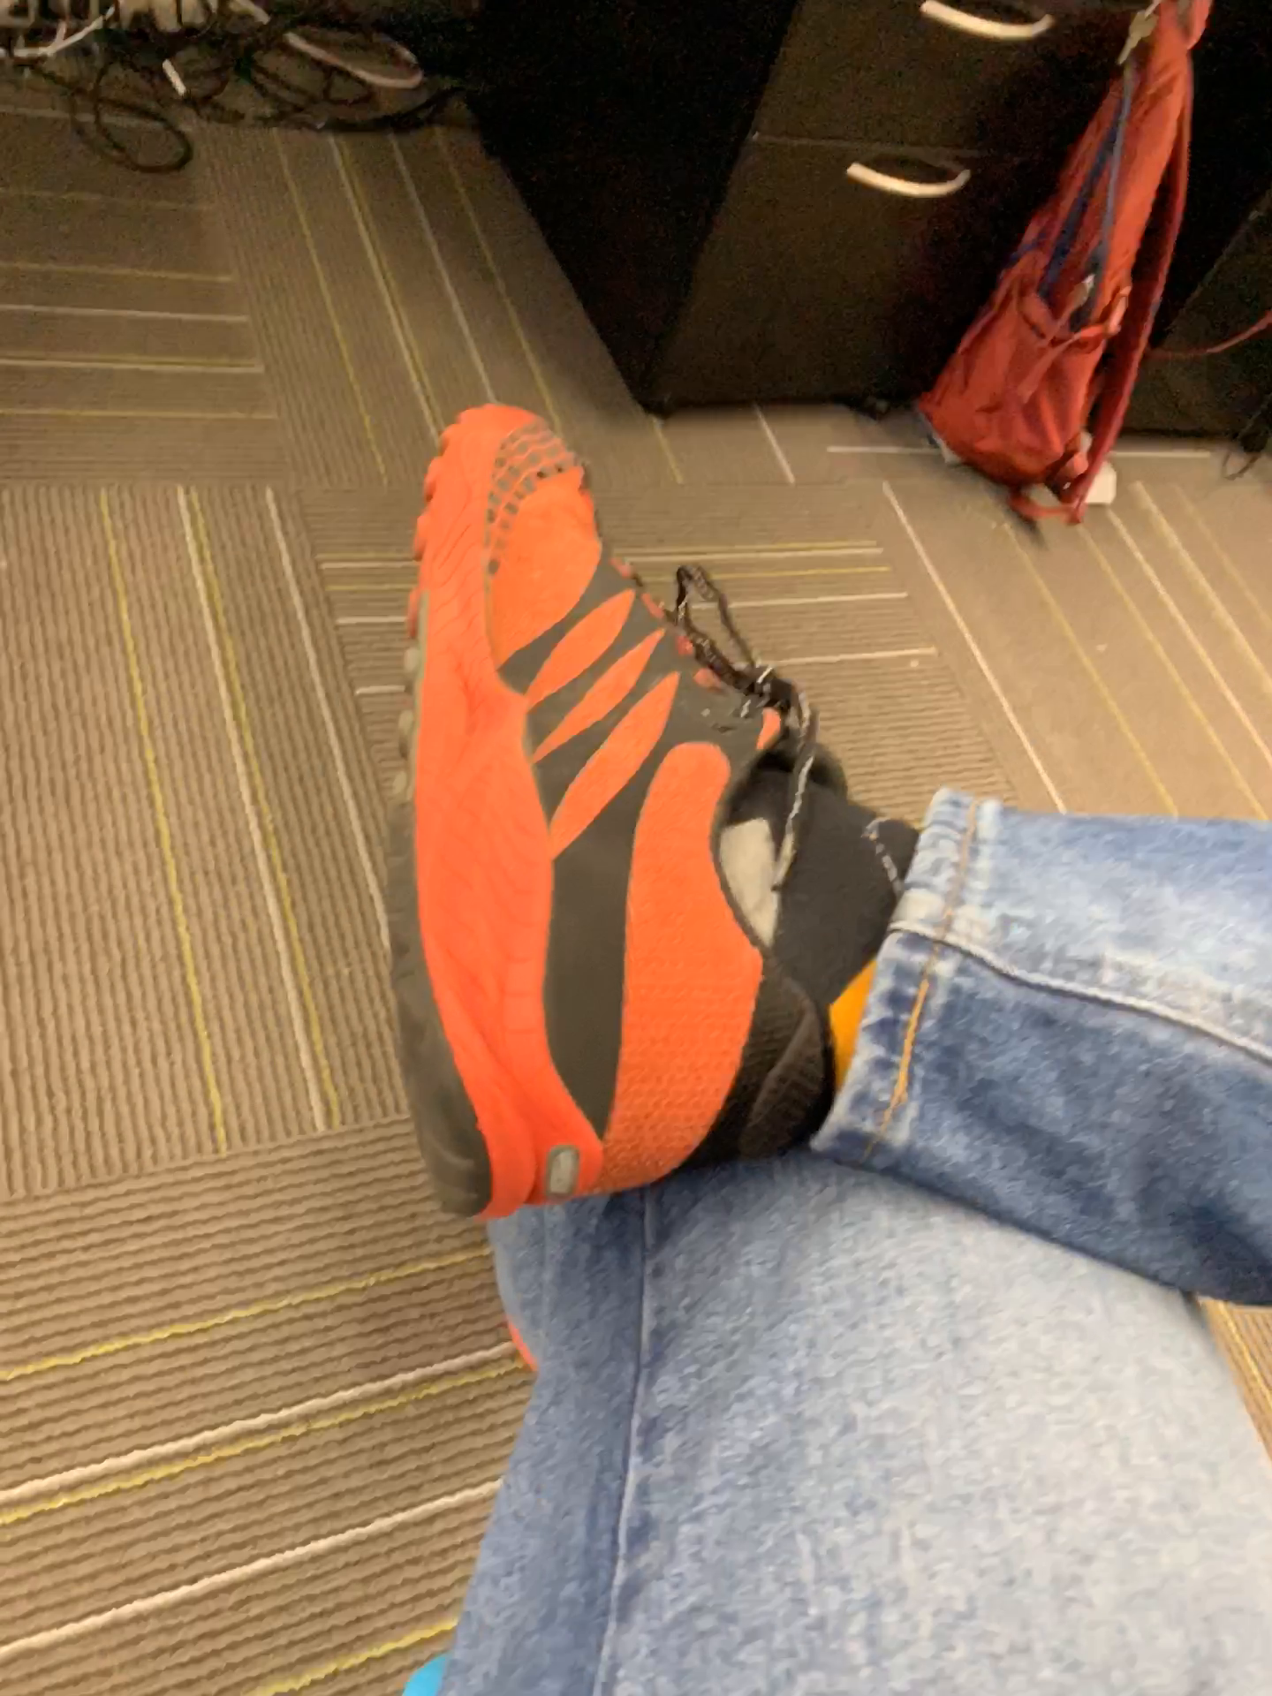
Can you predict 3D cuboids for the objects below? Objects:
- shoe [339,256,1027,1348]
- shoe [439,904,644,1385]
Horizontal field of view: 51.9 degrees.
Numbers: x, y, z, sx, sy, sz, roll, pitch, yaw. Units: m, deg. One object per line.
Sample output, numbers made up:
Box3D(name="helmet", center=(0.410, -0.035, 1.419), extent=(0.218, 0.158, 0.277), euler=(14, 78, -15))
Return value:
Box3D(name="shoe", center=(-0.013, -0.031, 0.404), extent=(0.146, 0.110, 0.322), euler=(1, 55, -13))
Box3D(name="shoe", center=(-0.062, 0.203, 0.933), extent=(0.117, 0.067, 0.320), euler=(12, 54, -18))
